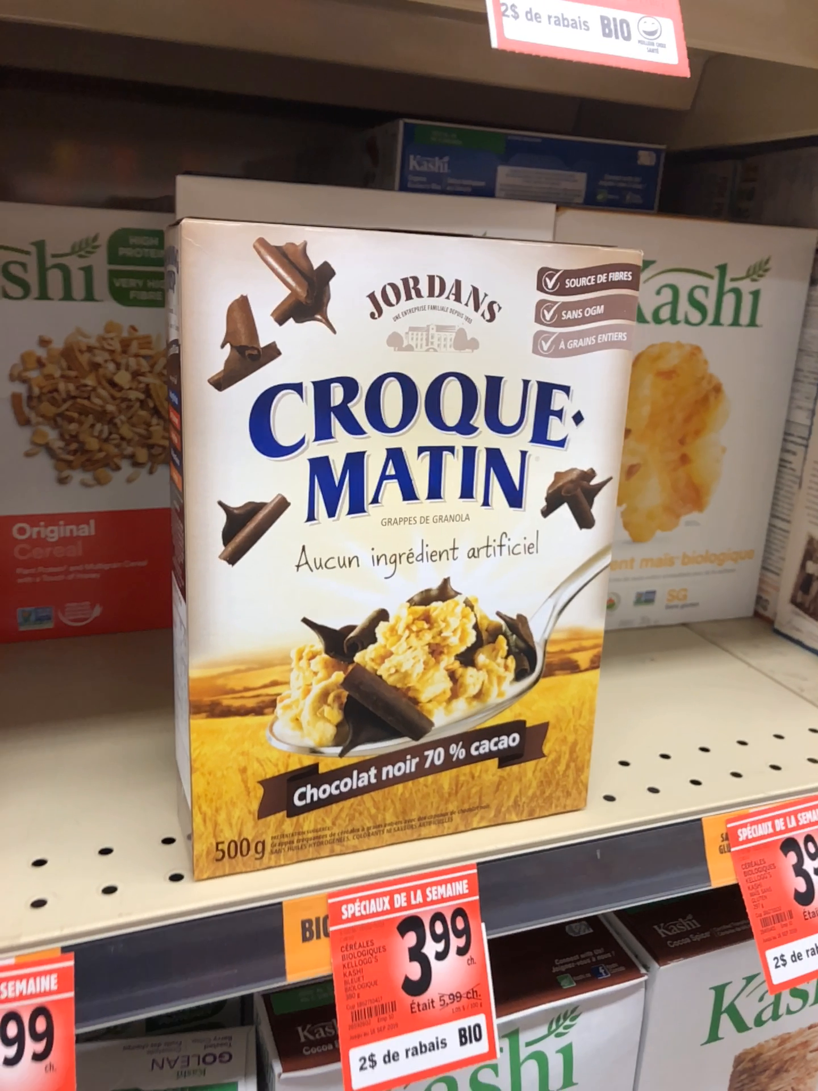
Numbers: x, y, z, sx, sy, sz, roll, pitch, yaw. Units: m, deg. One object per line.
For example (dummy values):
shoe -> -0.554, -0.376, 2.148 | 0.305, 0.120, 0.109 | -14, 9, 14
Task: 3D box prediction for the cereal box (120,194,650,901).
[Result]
cereal box -> -0.010, 0.000, 0.366 | 0.190, 0.249, 0.050 | -4, 15, -21
